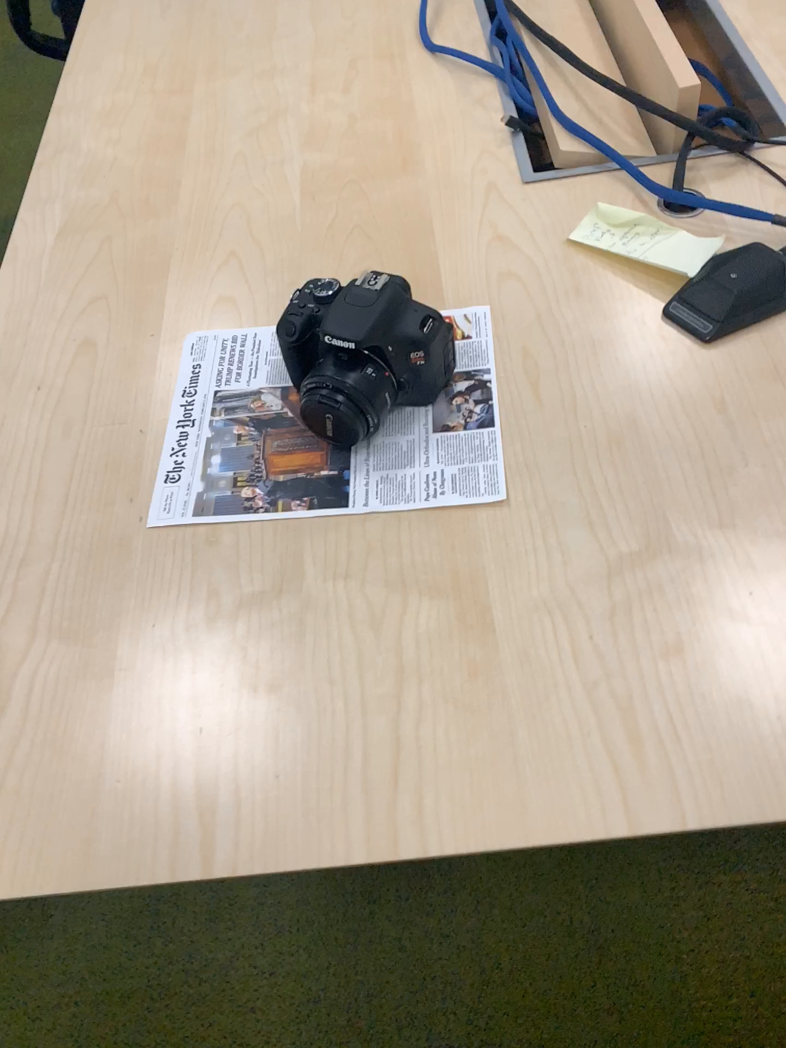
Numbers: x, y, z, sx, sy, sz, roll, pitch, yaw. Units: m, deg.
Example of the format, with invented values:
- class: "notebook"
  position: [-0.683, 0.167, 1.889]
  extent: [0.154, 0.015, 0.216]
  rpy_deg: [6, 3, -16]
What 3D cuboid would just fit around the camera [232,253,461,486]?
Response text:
- class: "camera"
  position: [-0.031, -0.125, 0.643]
  extent: [0.125, 0.100, 0.122]
  rpy_deg: [20, 61, 21]
